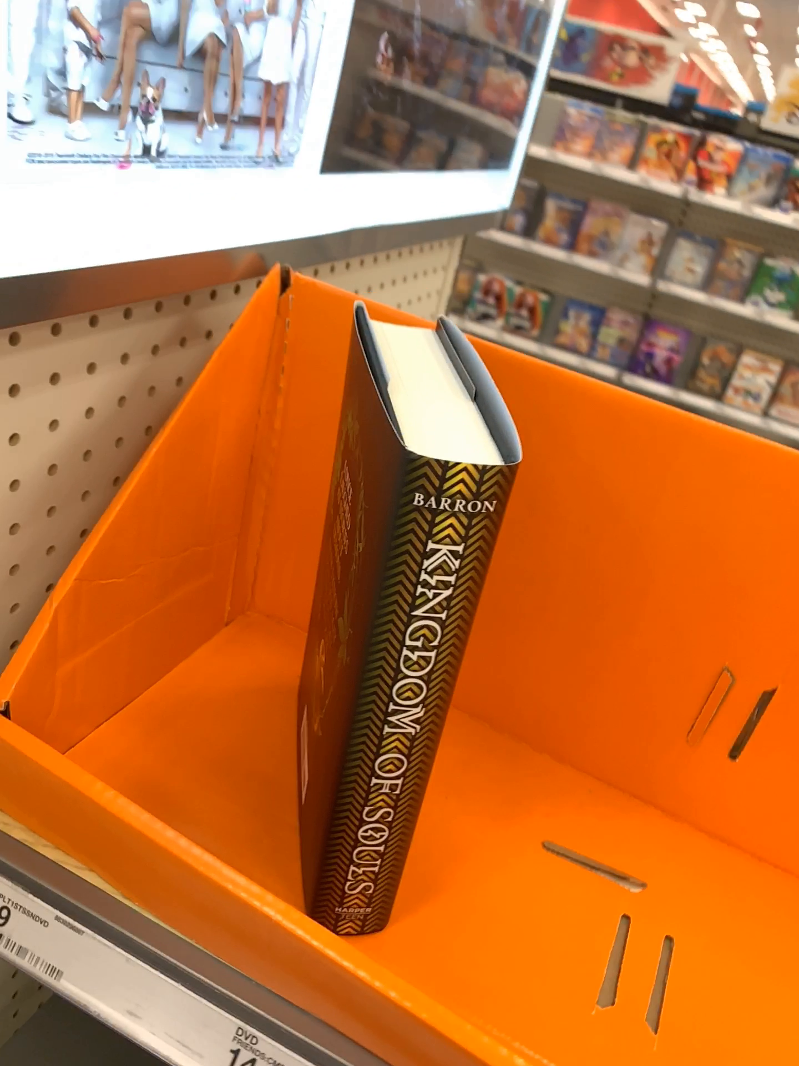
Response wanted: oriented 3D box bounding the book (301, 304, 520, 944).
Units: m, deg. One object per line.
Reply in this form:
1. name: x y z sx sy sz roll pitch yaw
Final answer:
1. book: -0.011 0.039 0.380 0.040 0.240 0.161 5 30 -11
